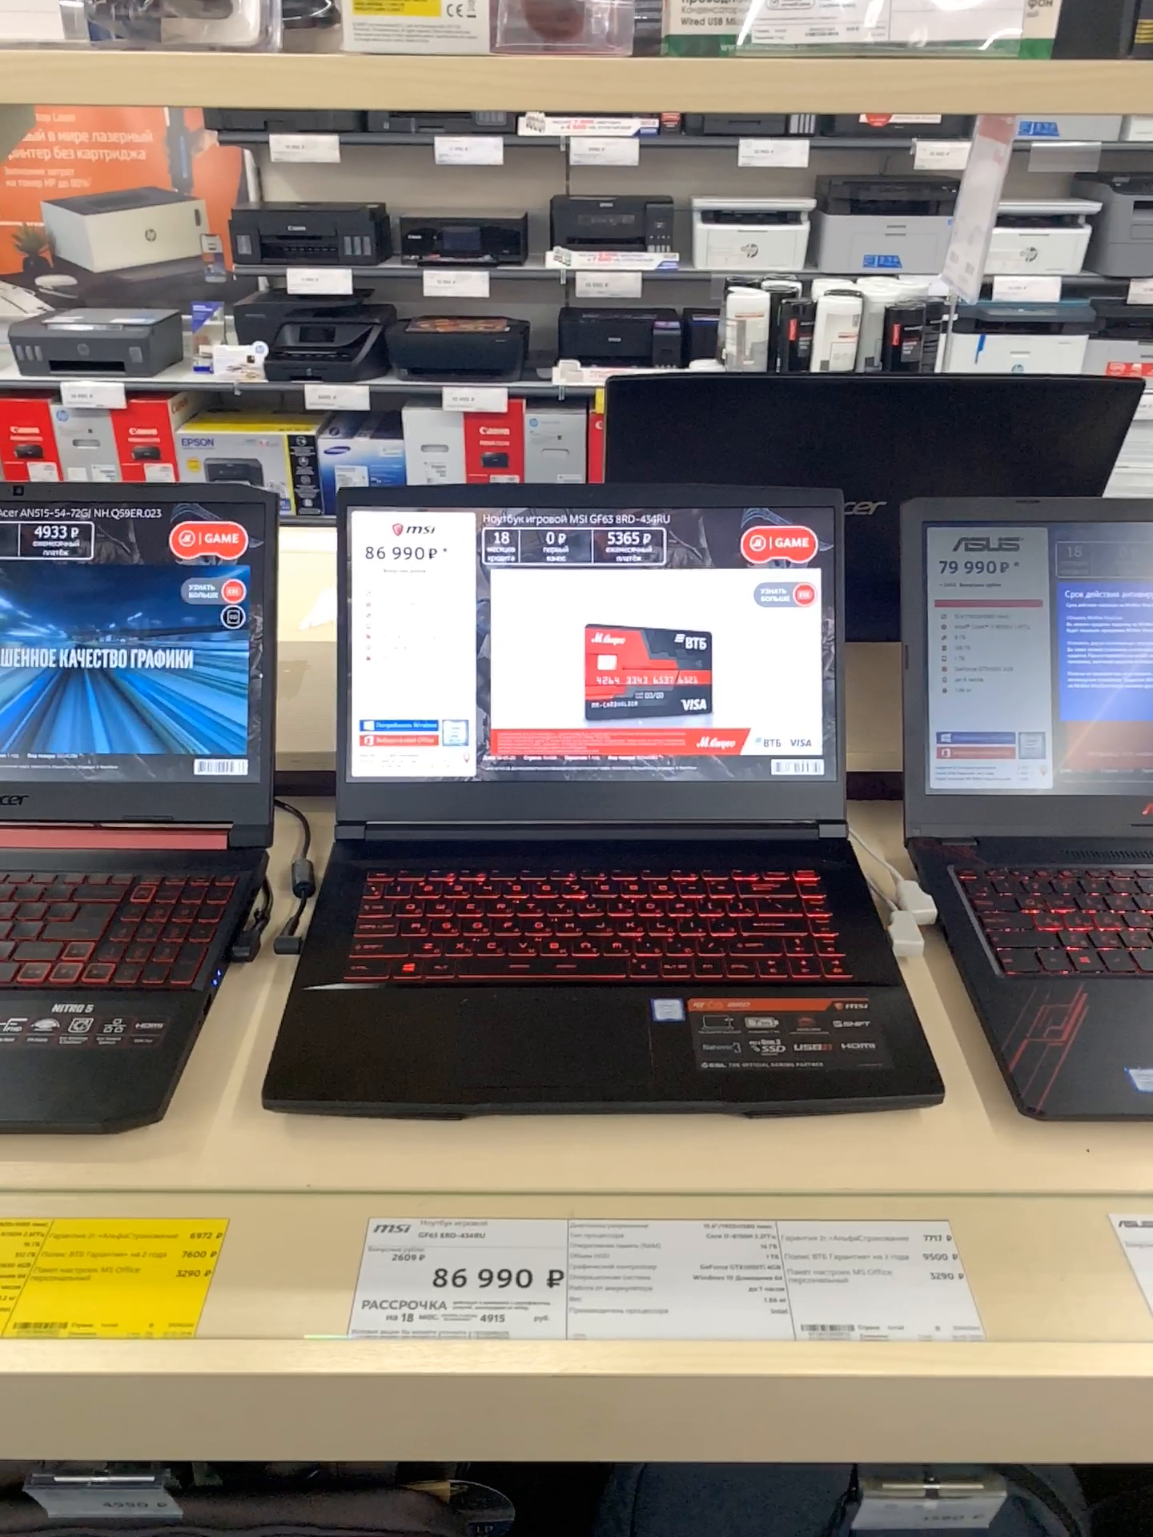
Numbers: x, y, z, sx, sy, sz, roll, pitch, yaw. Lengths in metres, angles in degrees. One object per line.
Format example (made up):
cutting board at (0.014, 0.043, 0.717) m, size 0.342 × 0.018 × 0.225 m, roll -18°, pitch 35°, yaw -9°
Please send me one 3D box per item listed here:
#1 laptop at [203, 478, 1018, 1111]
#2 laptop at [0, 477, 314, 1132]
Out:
laptop at (0.012, -0.016, 0.711) m, size 0.350 × 0.204 × 0.372 m, roll 0°, pitch 31°, yaw -2°
laptop at (-0.374, -0.010, 0.687) m, size 0.334 × 0.211 × 0.373 m, roll 1°, pitch 30°, yaw 1°
